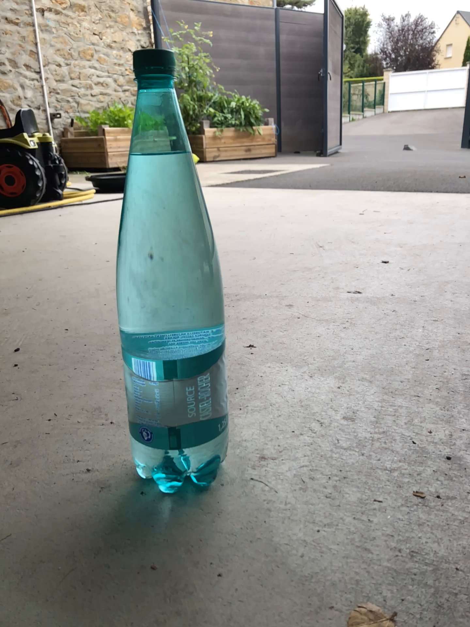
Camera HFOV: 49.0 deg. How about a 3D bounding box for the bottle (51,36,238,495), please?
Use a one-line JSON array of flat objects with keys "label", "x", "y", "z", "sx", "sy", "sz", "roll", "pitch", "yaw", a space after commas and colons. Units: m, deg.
[{"label": "bottle", "x": -0.055, "y": -0.027, "z": 0.403, "sx": 0.090, "sy": 0.319, "sz": 0.100, "roll": 0, "pitch": 18, "yaw": 7}]
